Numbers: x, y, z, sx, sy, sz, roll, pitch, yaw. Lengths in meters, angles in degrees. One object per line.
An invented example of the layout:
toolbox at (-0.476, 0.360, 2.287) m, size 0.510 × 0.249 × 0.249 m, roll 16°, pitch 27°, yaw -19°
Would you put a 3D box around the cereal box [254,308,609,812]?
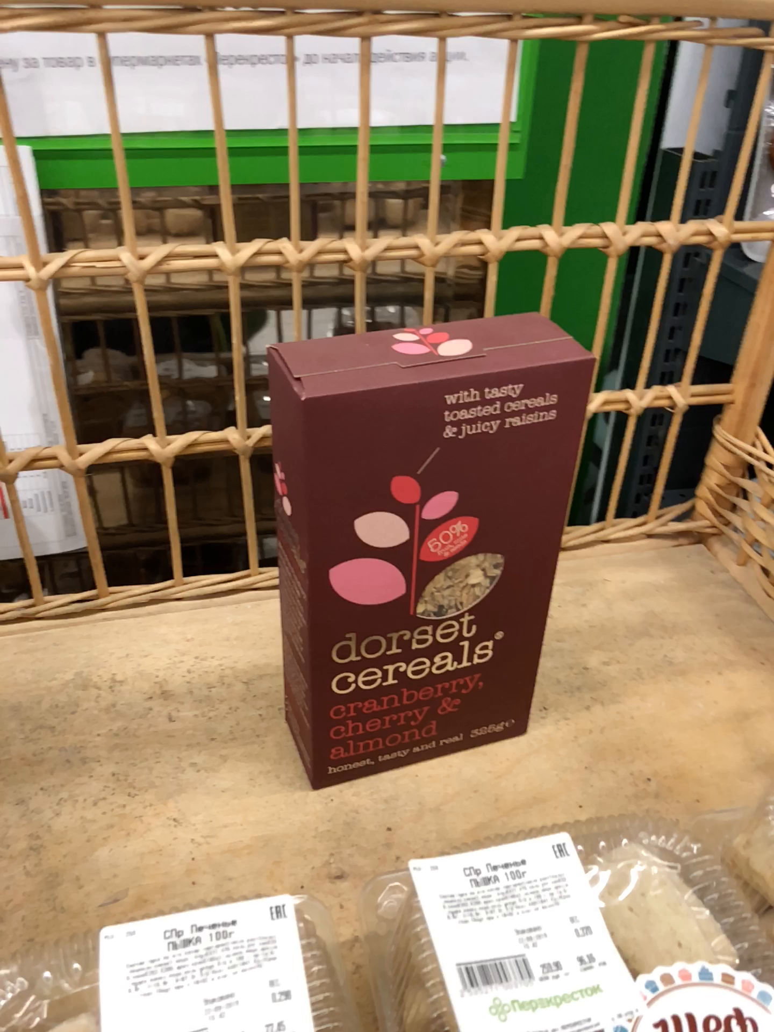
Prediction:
cereal box at (0.013, 0.025, 0.371) m, size 0.120 × 0.209 × 0.050 m, roll -10°, pitch 36°, yaw -18°
